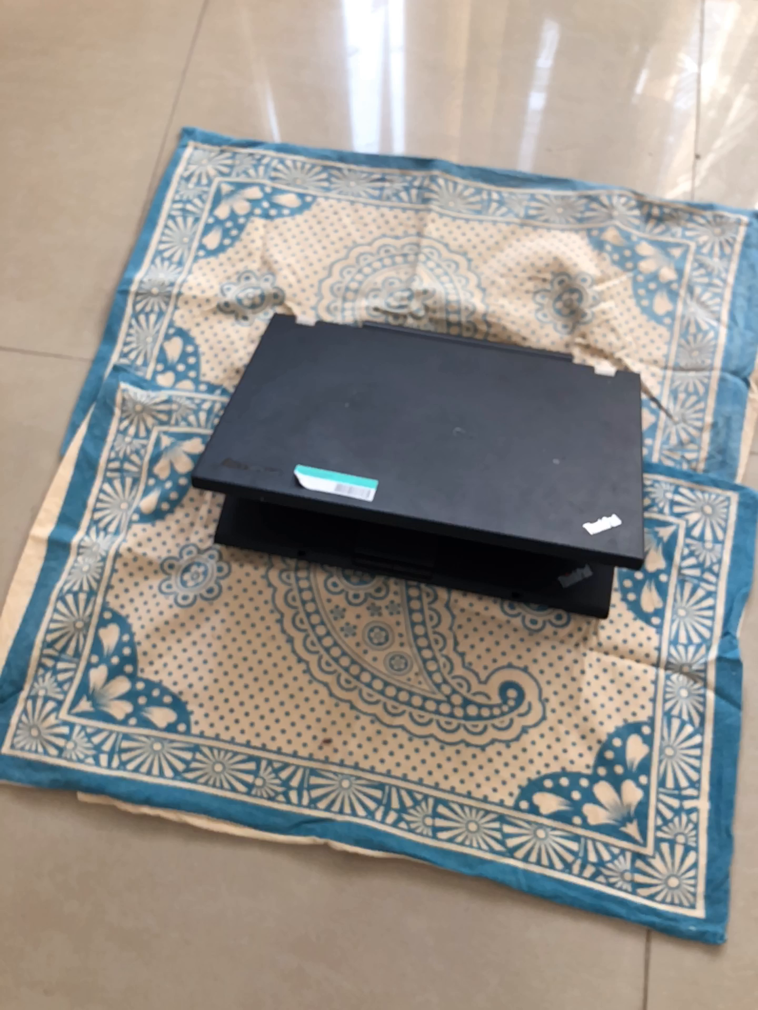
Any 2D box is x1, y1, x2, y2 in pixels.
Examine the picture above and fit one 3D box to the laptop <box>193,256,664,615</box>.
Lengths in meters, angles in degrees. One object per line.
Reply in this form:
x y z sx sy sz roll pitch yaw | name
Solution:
0.045 -0.066 0.754 0.347 0.125 0.241 11 70 10 | laptop
